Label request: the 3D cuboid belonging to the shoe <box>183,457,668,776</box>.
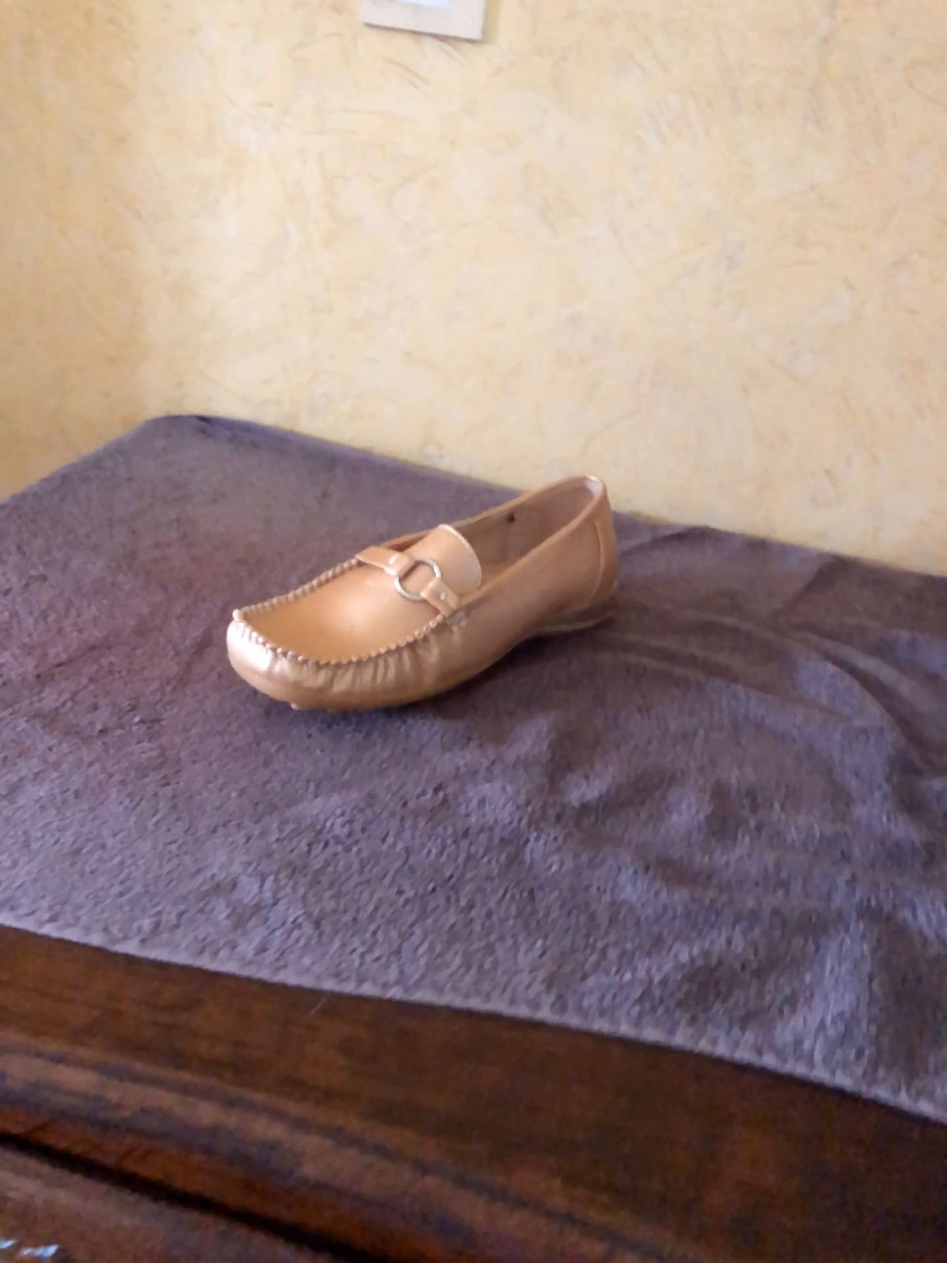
[{"bbox_3d":[-0.015,-0.022,0.556,0.261,0.080,0.080,-20,39,-40],"label":"shoe"}]
